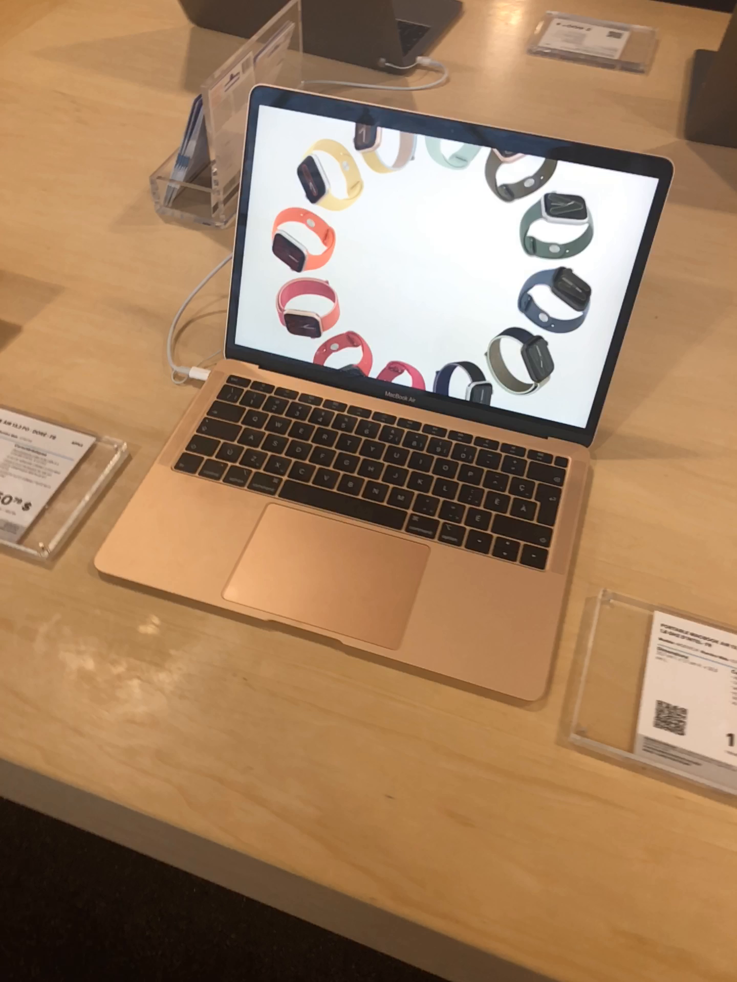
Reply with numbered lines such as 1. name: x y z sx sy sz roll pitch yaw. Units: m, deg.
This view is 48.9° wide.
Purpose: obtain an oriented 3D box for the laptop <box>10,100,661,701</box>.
1. laptop: 0.007 -0.077 0.525 0.289 0.167 0.298 15 52 9
